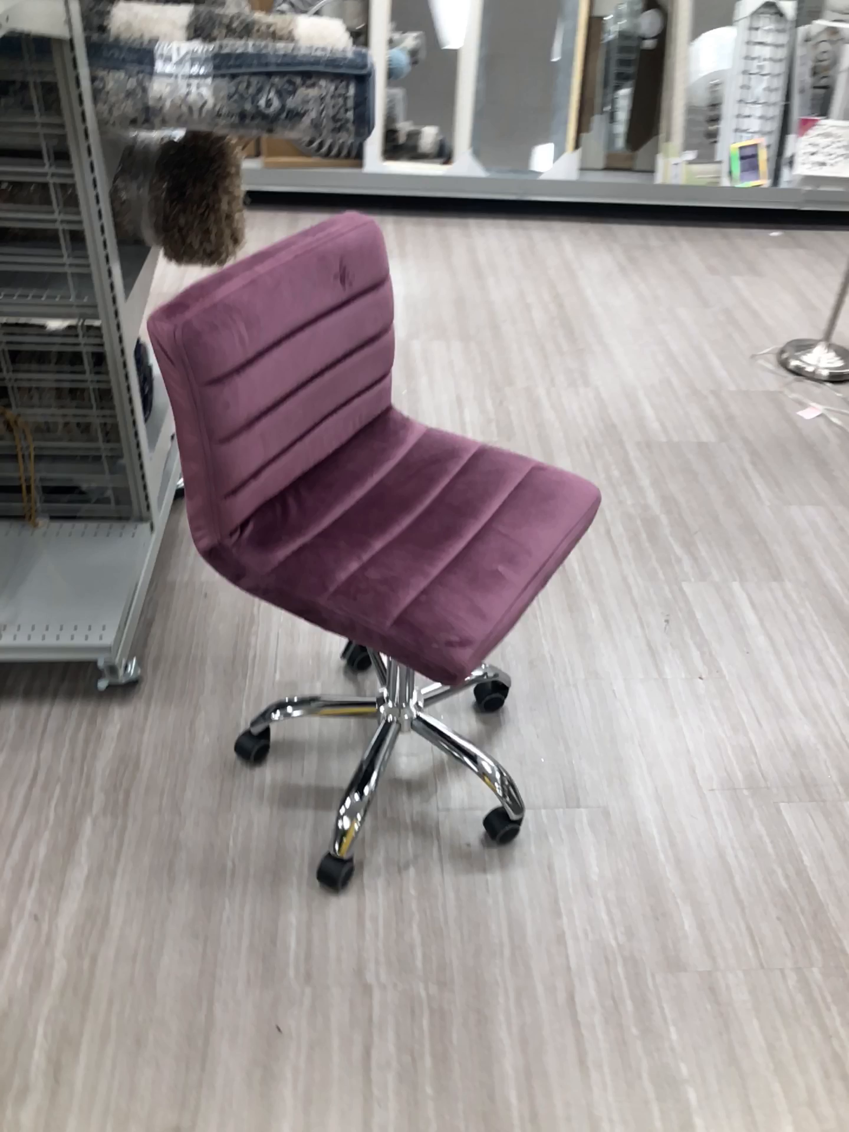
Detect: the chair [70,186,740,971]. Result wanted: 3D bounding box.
[{"bbox_3d":[-0.006,-0.004,1.341,0.577,0.800,0.589,20,41,19],"label":"chair"}]
